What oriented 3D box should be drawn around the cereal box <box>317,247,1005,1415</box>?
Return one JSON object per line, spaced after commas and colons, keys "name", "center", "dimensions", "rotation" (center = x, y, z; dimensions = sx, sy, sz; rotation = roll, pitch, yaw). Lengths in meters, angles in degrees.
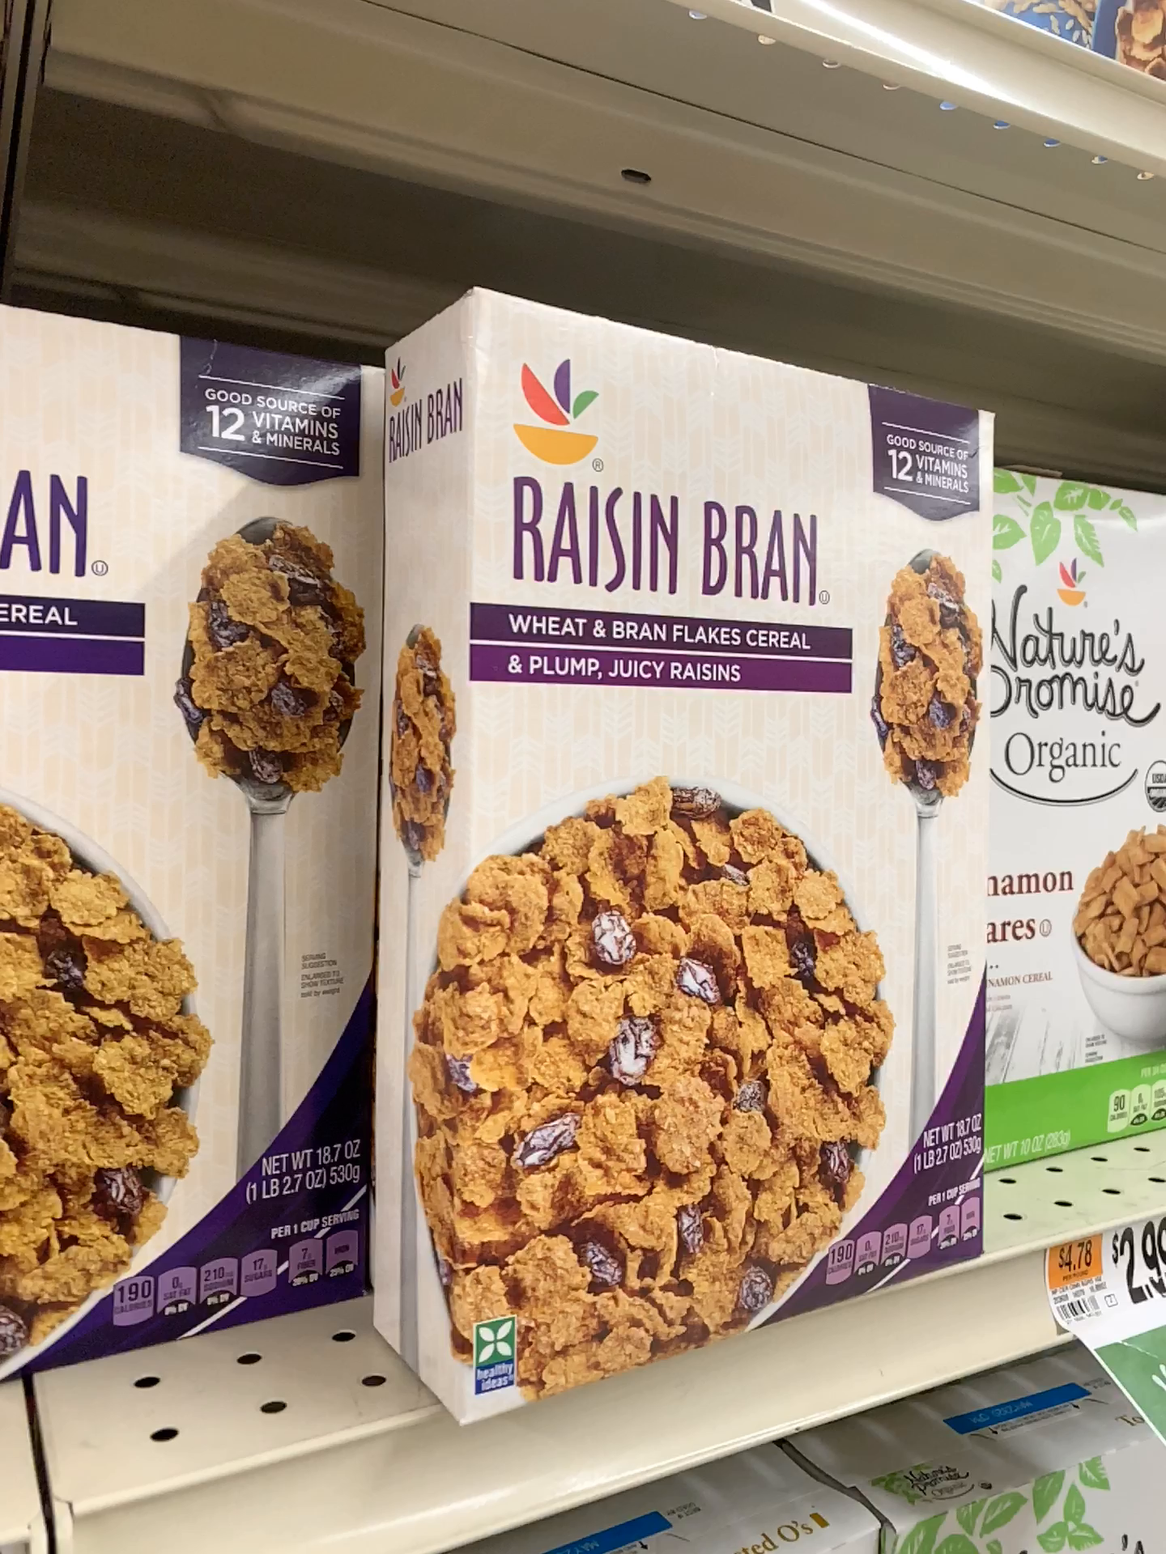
{"name": "cereal box", "center": [0.027, 0.012, 0.356], "dimensions": [0.190, 0.270, 0.070], "rotation": [0, 3, -32]}
